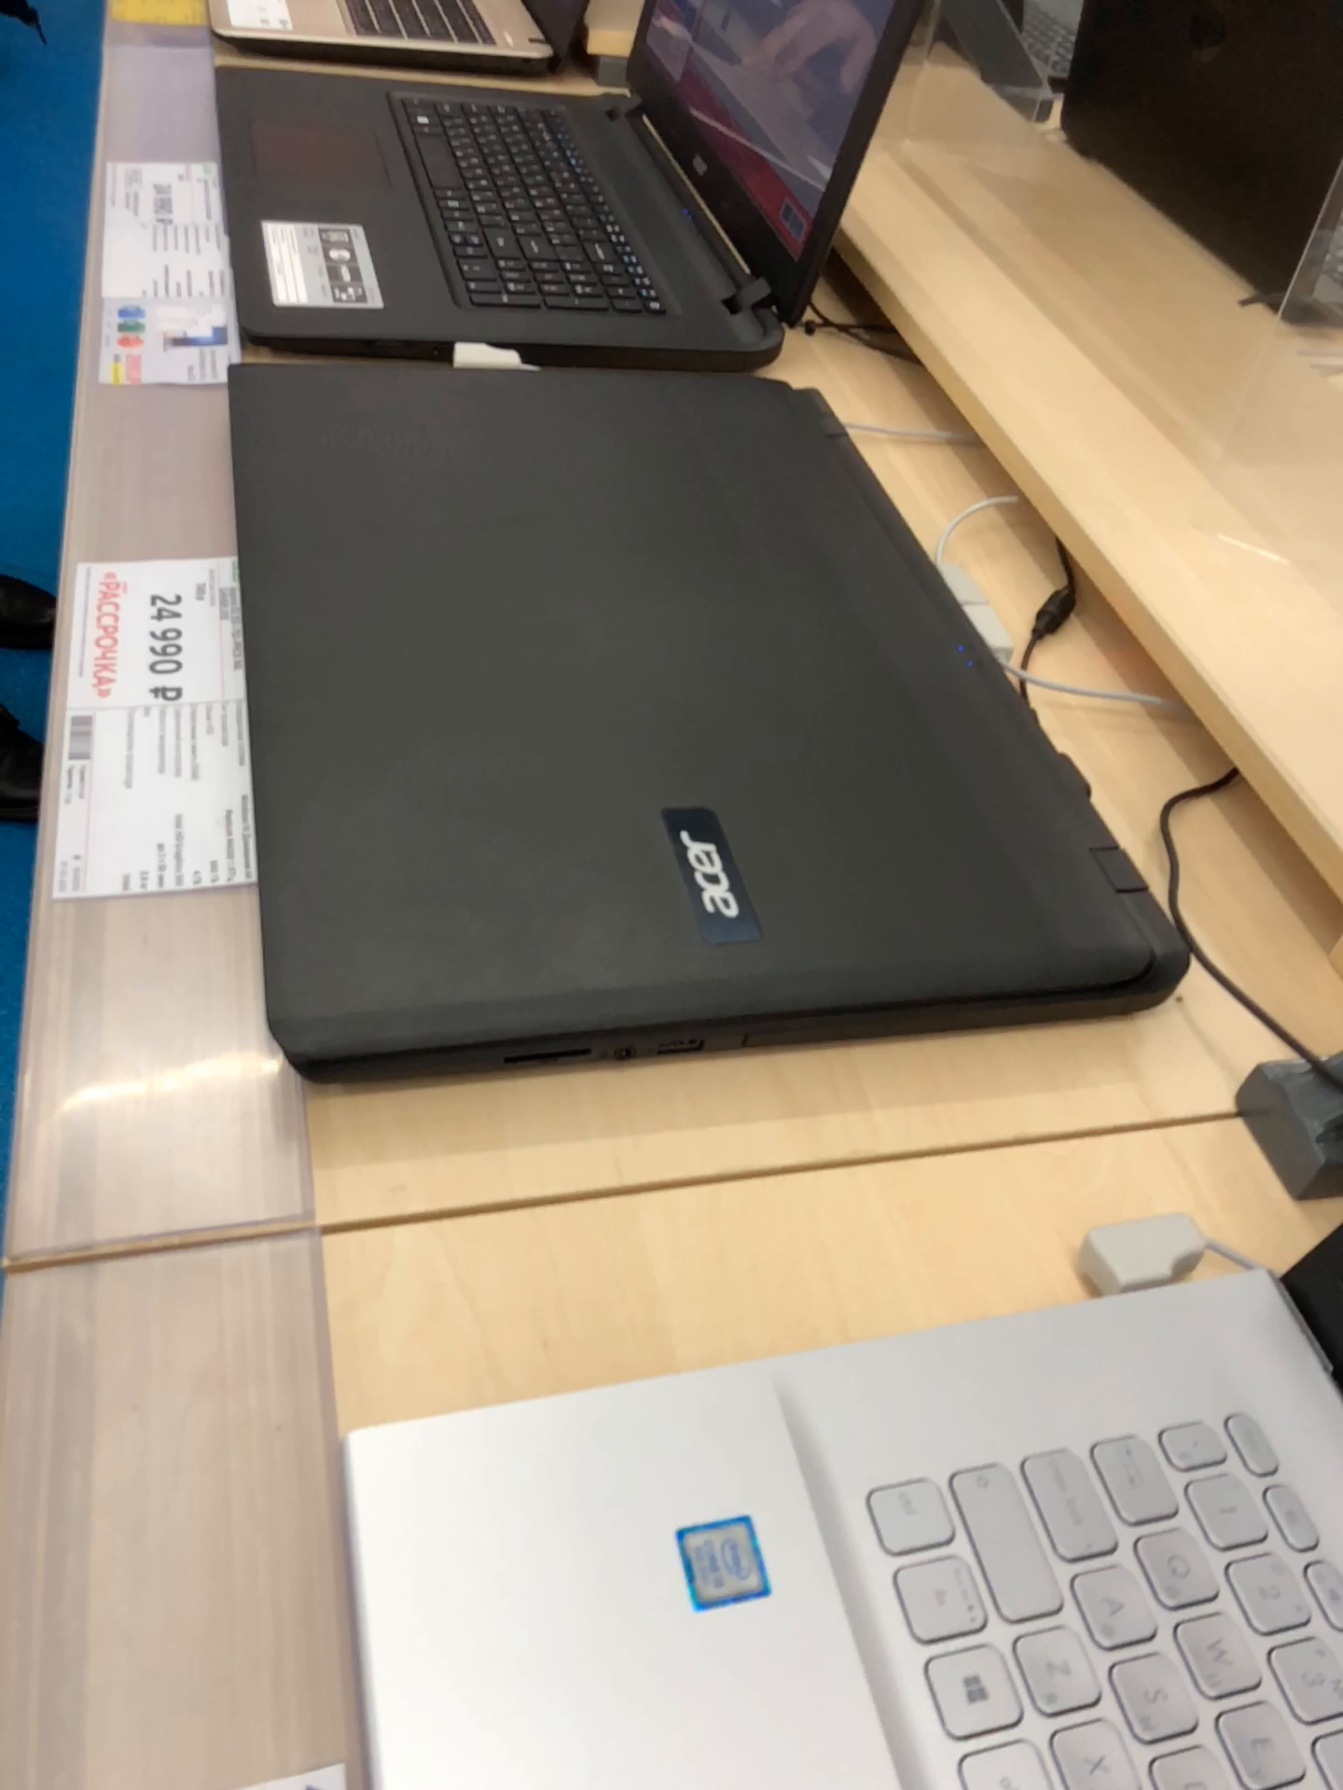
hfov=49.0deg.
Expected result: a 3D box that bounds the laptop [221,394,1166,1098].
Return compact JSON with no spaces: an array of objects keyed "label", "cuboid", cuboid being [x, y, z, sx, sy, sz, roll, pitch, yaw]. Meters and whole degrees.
[{"label":"laptop","cuboid":[-0.024,-0.100,0.589,0.278,0.005,0.412,-5,46,-16]}]
